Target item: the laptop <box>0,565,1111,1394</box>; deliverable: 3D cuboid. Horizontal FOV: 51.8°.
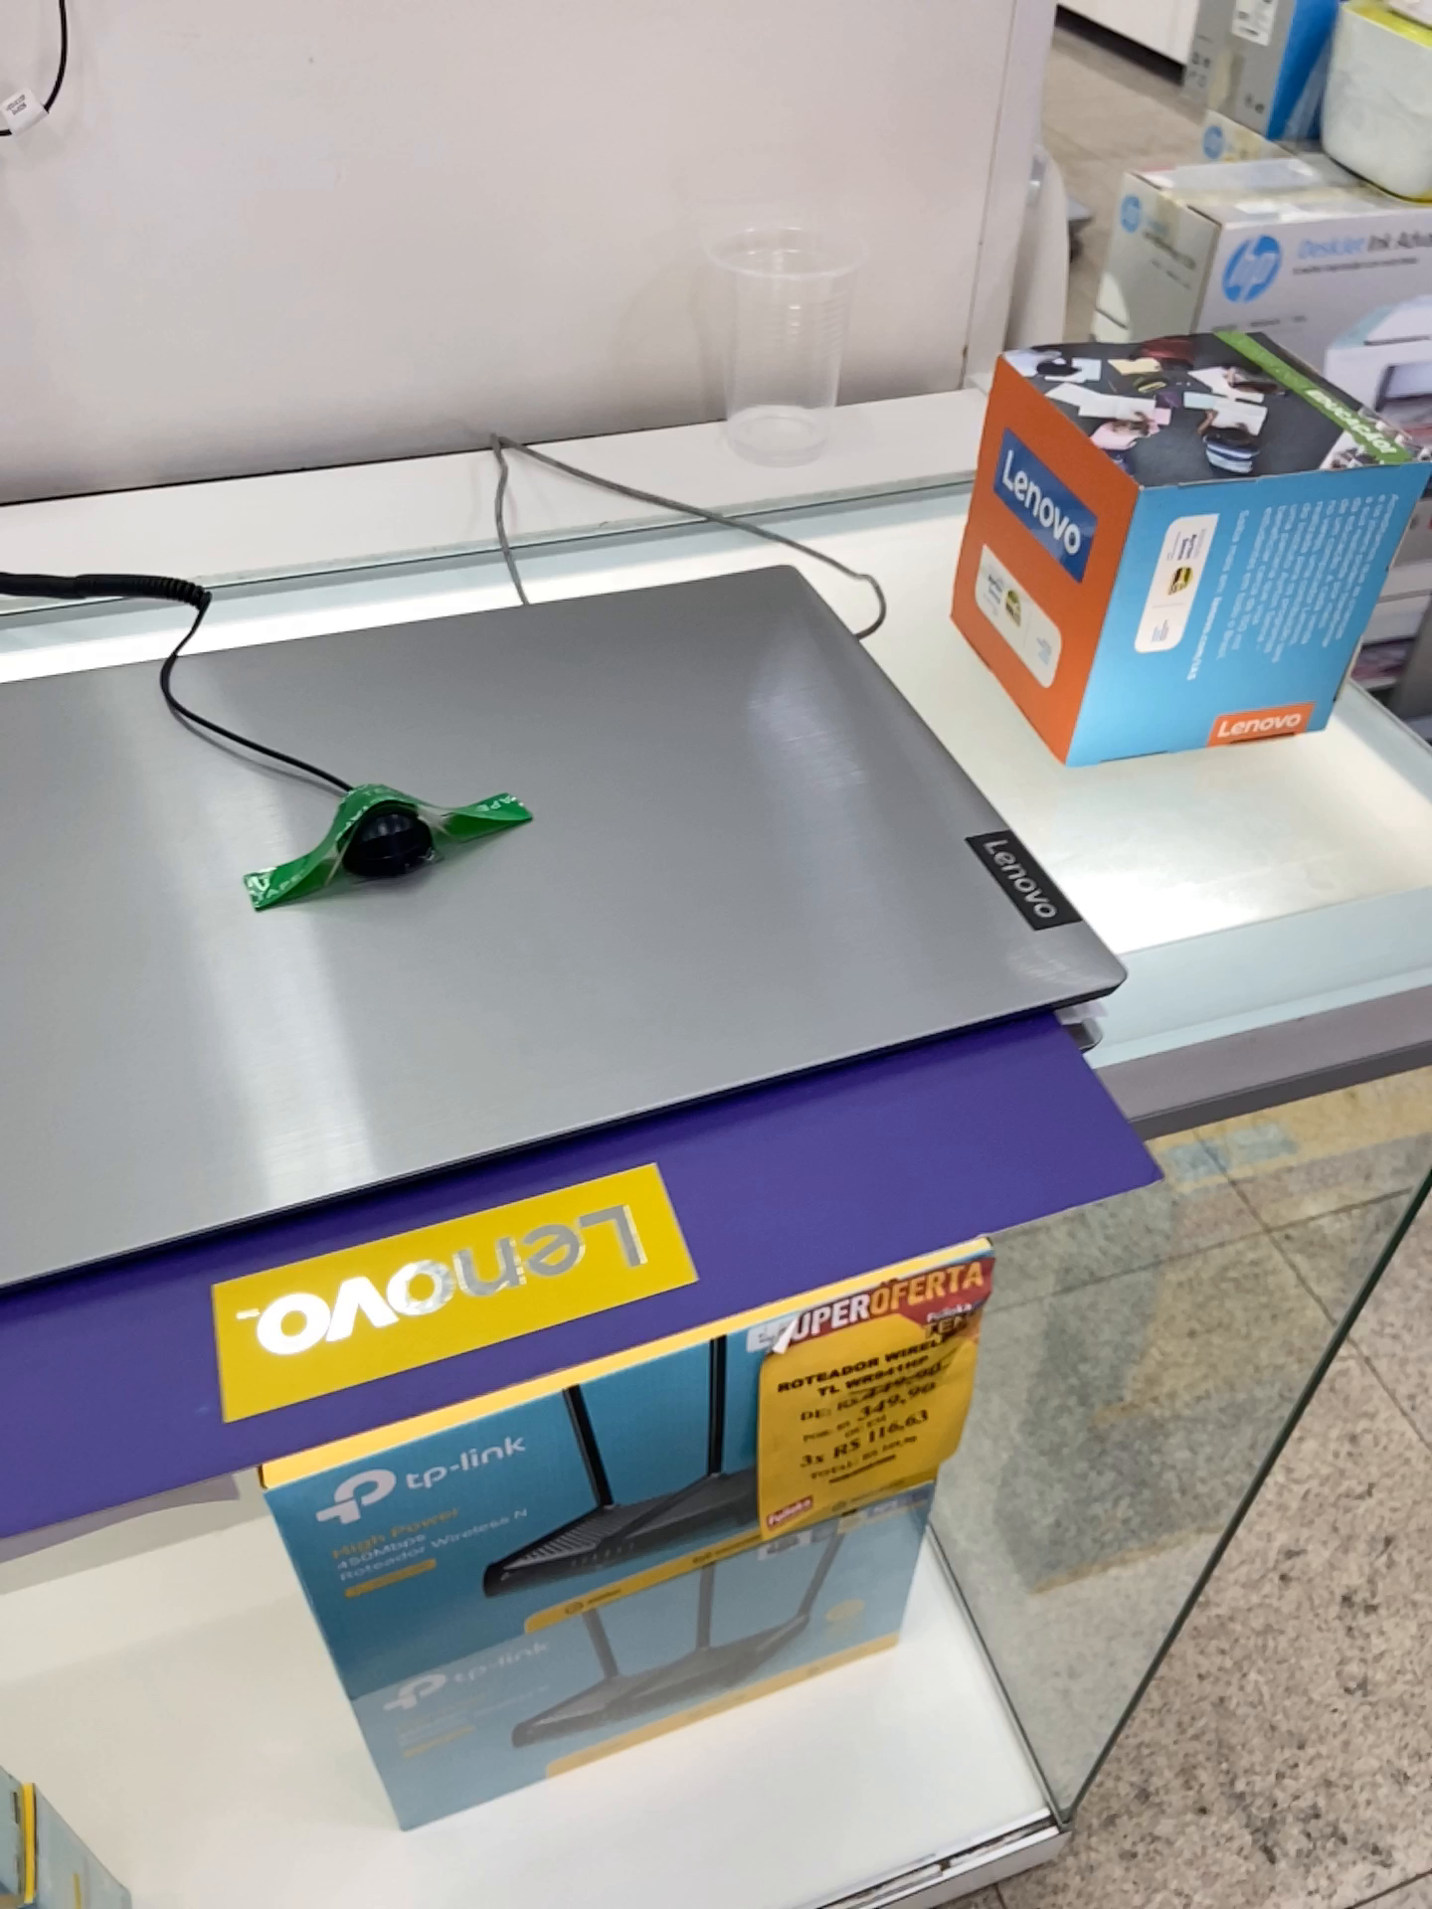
[{"bbox_3d":[-0.106,-0.028,0.428,0.362,0.001,0.241,-13,45,-14],"label":"laptop"}]
